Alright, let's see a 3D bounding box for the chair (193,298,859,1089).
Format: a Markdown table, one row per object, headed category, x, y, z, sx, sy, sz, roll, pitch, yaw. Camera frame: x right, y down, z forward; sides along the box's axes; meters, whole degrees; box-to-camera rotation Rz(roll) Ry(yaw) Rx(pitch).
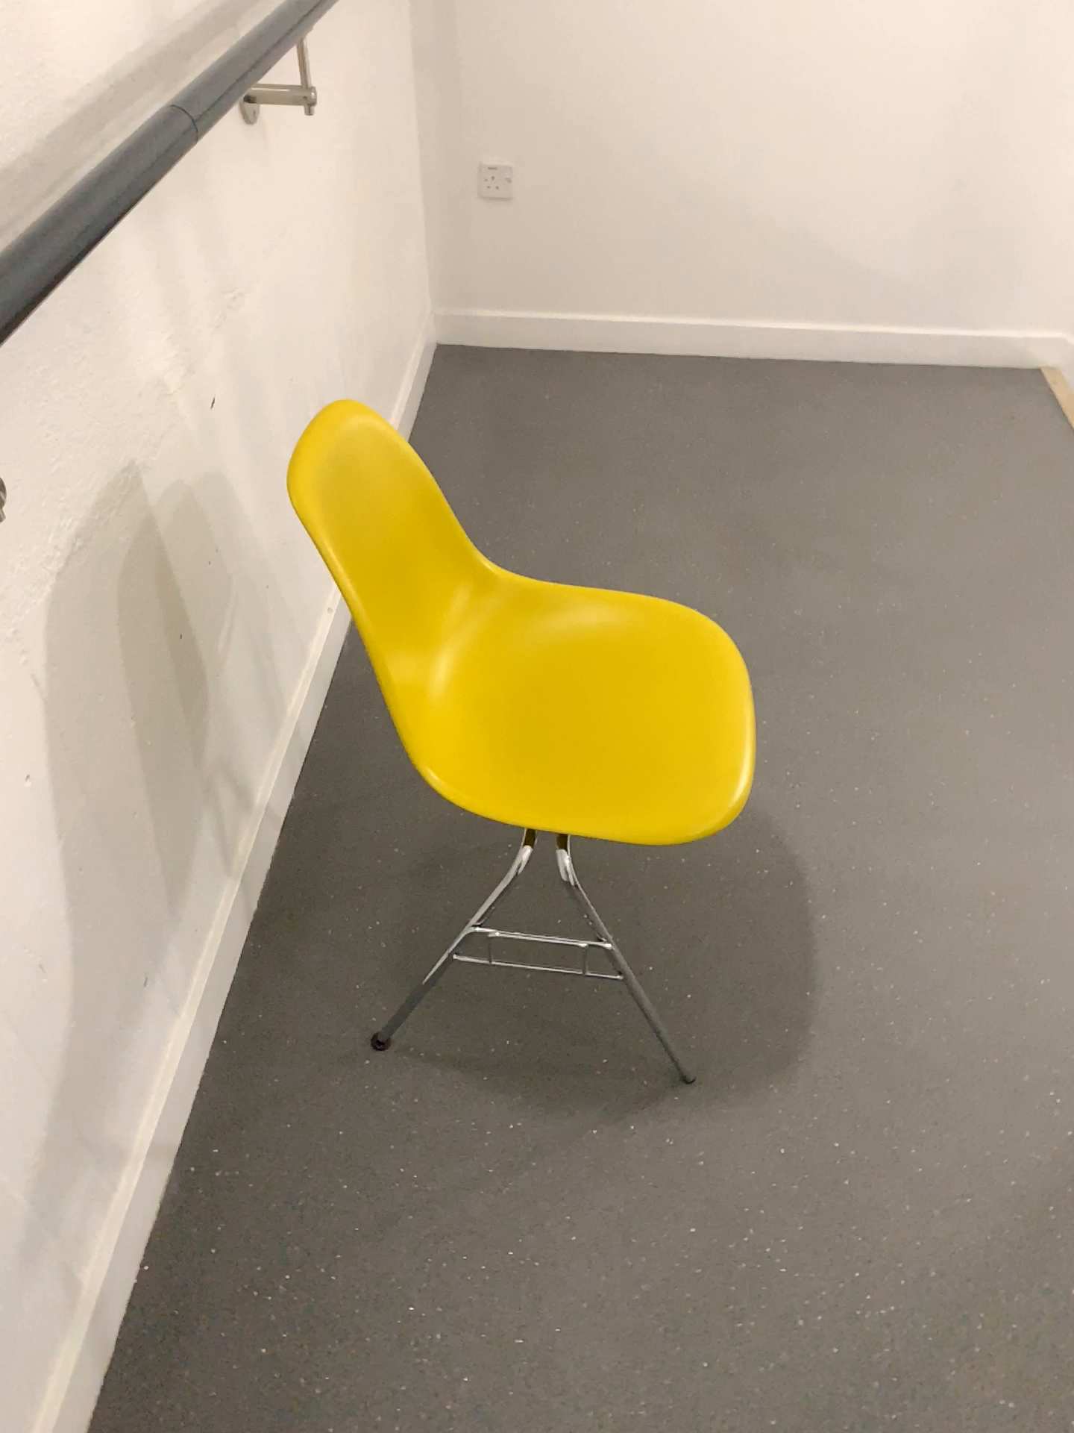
| category | x | y | z | sx | sy | sz | roll | pitch | yaw |
| --- | --- | --- | --- | --- | --- | --- | --- | --- | --- |
| chair | 0.021 | -0.029 | 1.386 | 0.560 | 0.733 | 0.626 | 5 | 44 | 5 |
